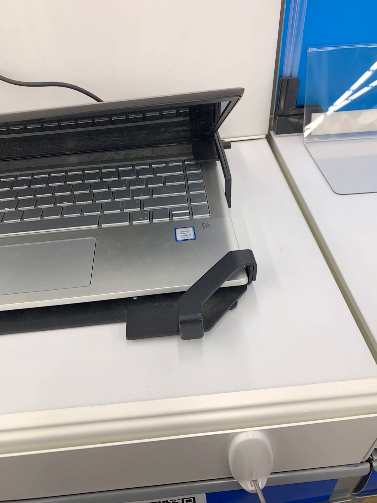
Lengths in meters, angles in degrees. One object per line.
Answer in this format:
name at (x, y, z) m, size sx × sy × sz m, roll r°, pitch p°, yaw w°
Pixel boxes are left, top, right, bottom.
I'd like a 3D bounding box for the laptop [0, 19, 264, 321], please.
laptop at (-0.112, -0.073, 0.298) m, size 0.283 × 0.111 × 0.194 m, roll -6°, pitch 44°, yaw 1°
